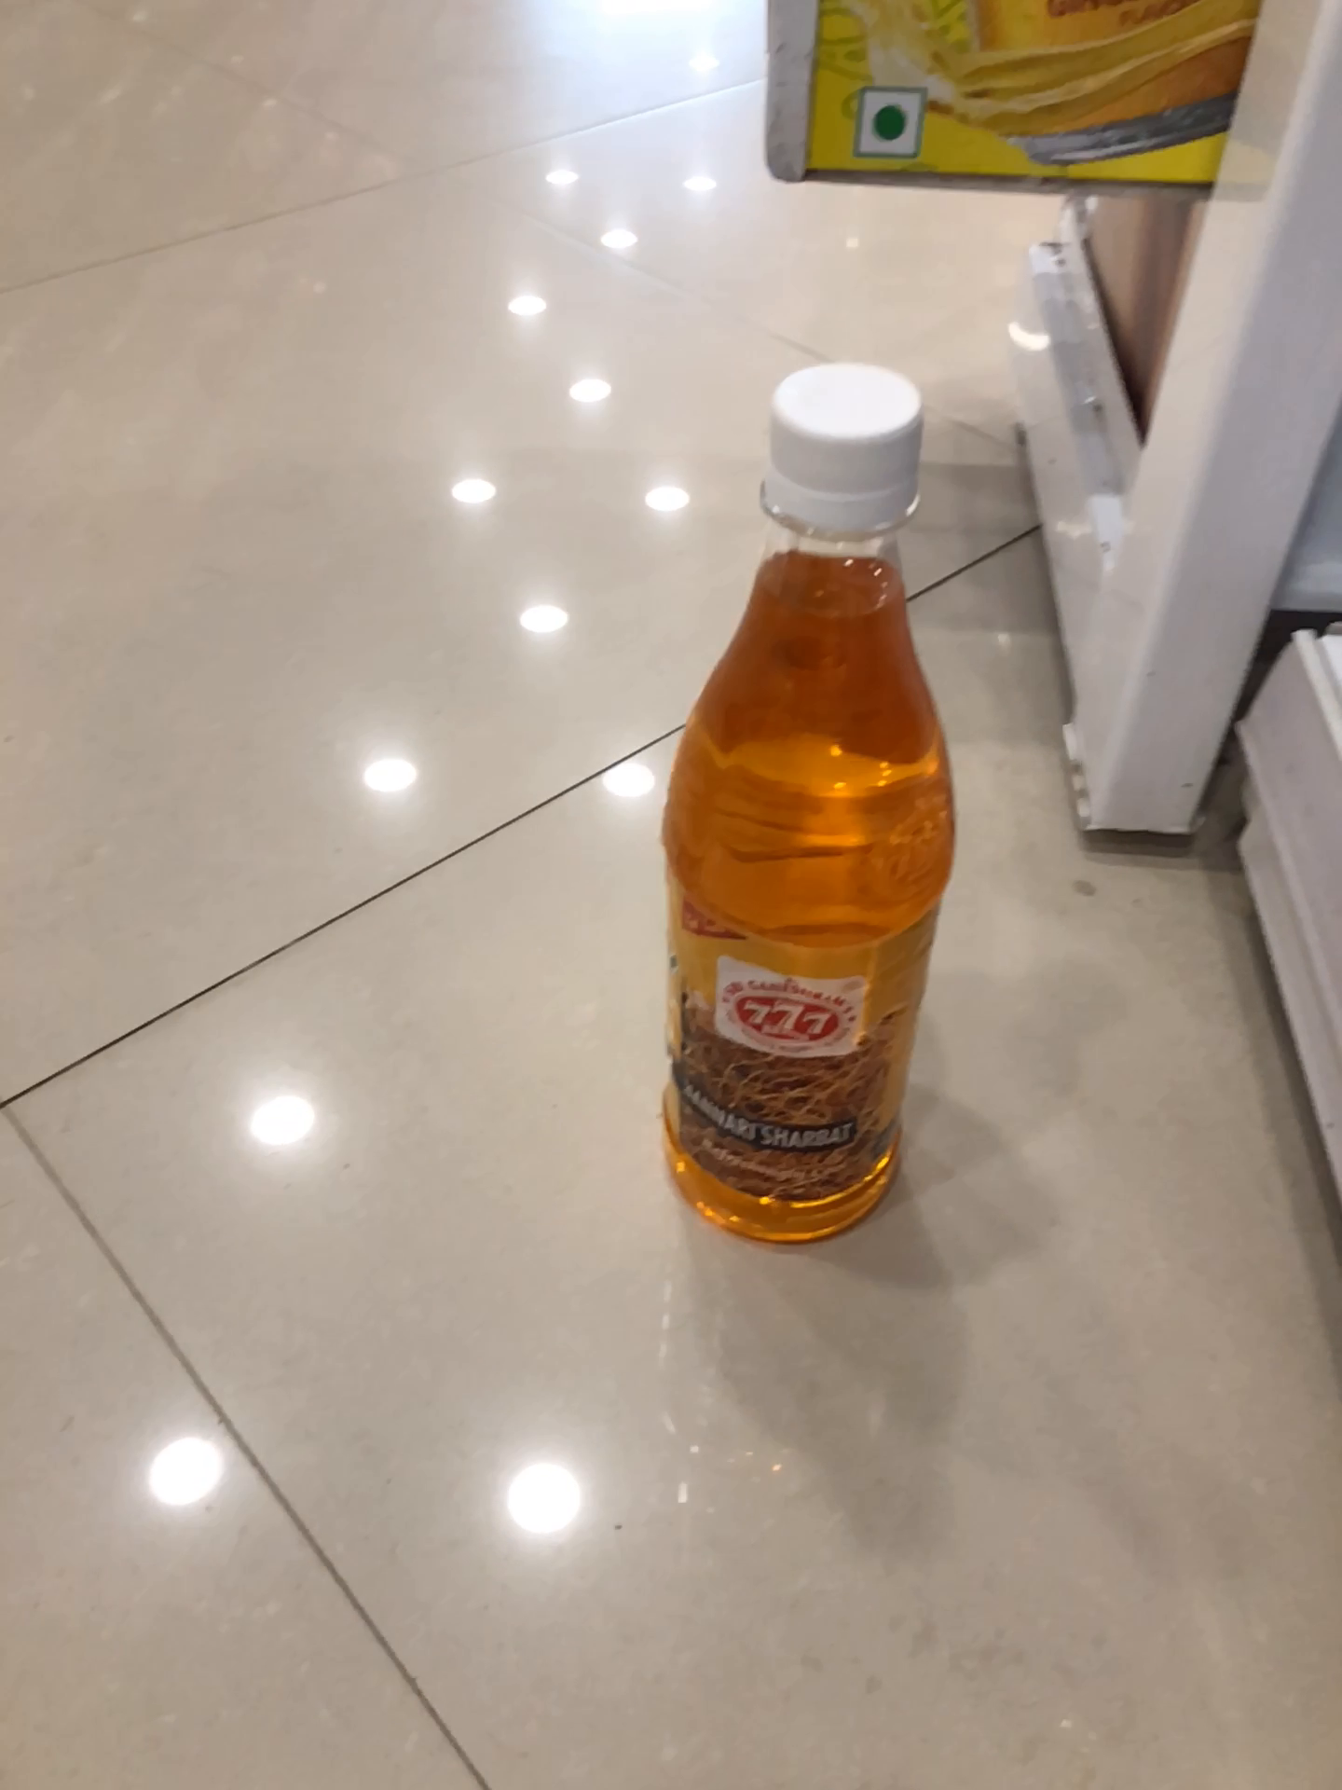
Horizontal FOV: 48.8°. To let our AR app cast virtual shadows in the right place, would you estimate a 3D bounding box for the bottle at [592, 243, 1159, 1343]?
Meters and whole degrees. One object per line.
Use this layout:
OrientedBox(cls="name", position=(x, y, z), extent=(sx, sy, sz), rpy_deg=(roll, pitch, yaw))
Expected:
OrientedBox(cls="bottle", position=(0.045, -0.006, 0.416), extent=(0.100, 0.298, 0.101), rpy_deg=(1, 45, -1))
